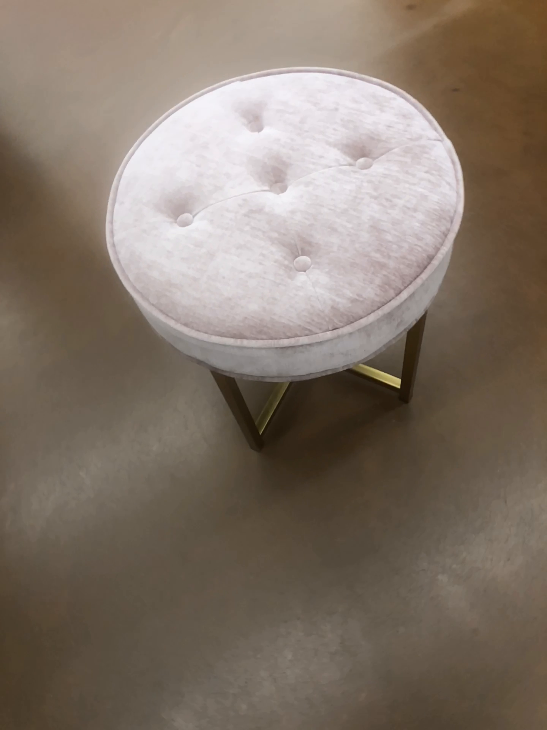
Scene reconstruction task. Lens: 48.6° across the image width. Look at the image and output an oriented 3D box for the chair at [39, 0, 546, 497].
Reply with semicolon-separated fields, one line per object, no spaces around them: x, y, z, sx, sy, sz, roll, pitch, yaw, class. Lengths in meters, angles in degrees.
0.008;-0.152;0.888;0.470;0.390;0.451;-21;62;-3;chair
